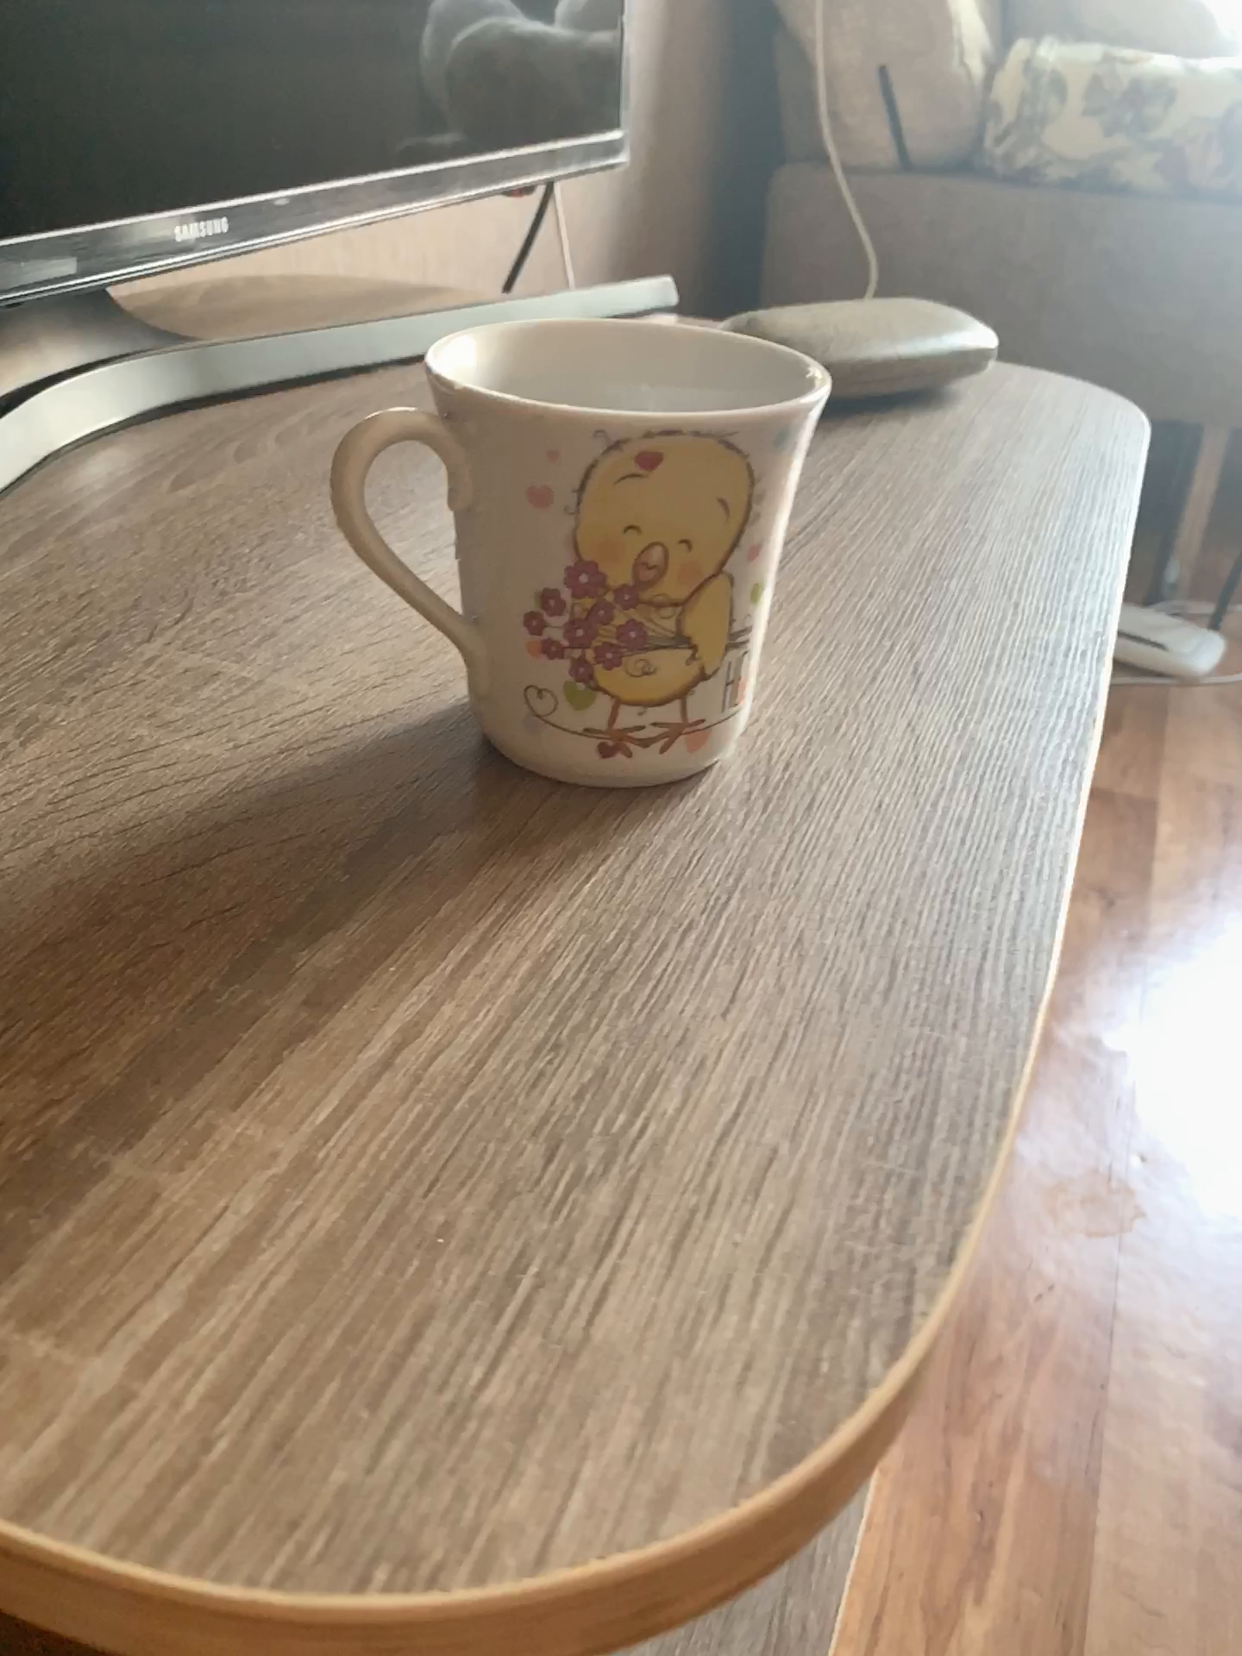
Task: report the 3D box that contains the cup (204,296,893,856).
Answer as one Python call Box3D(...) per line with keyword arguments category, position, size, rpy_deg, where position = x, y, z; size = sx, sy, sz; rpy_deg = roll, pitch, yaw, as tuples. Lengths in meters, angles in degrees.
Box3D(category="cup", position=(-0.016, -0.058, 0.263), size=(0.110, 0.080, 0.070), rpy_deg=(-15, 35, -27))
